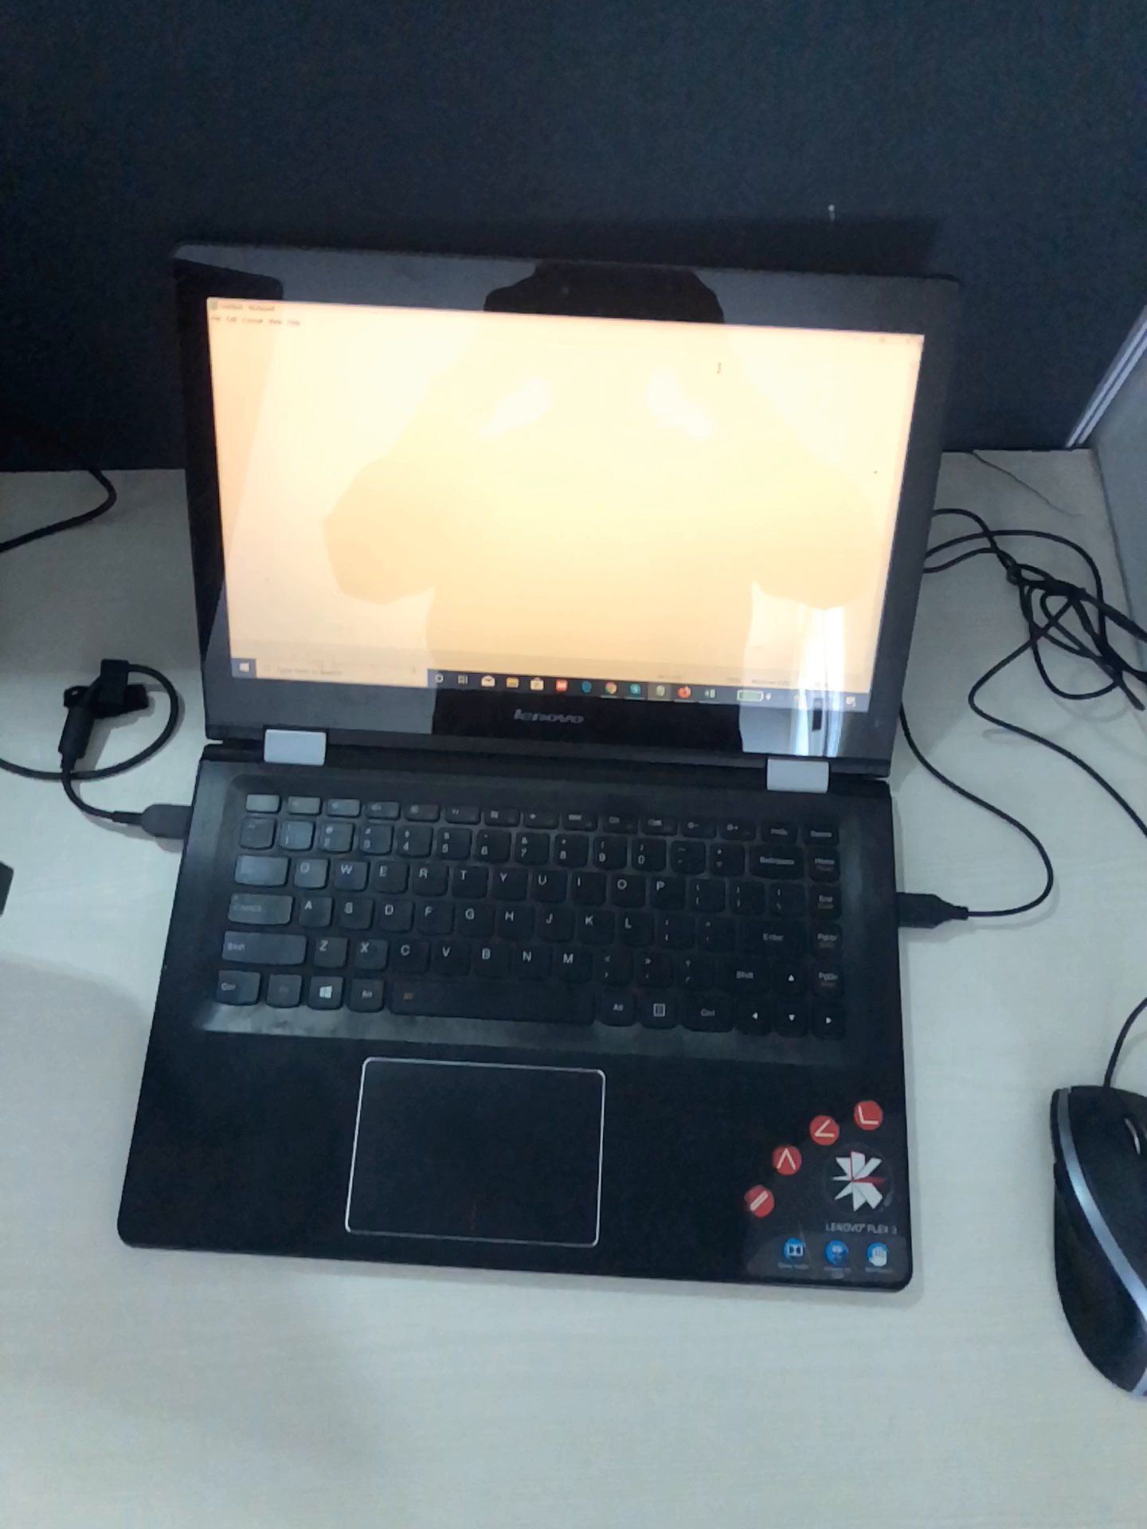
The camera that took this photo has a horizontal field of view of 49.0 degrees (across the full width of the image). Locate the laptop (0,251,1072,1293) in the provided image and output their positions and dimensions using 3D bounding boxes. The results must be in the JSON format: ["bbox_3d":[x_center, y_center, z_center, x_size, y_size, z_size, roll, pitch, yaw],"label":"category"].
[{"bbox_3d":[-0.014,0.001,0.529,0.334,0.171,0.386,3,66,1],"label":"laptop"}]
